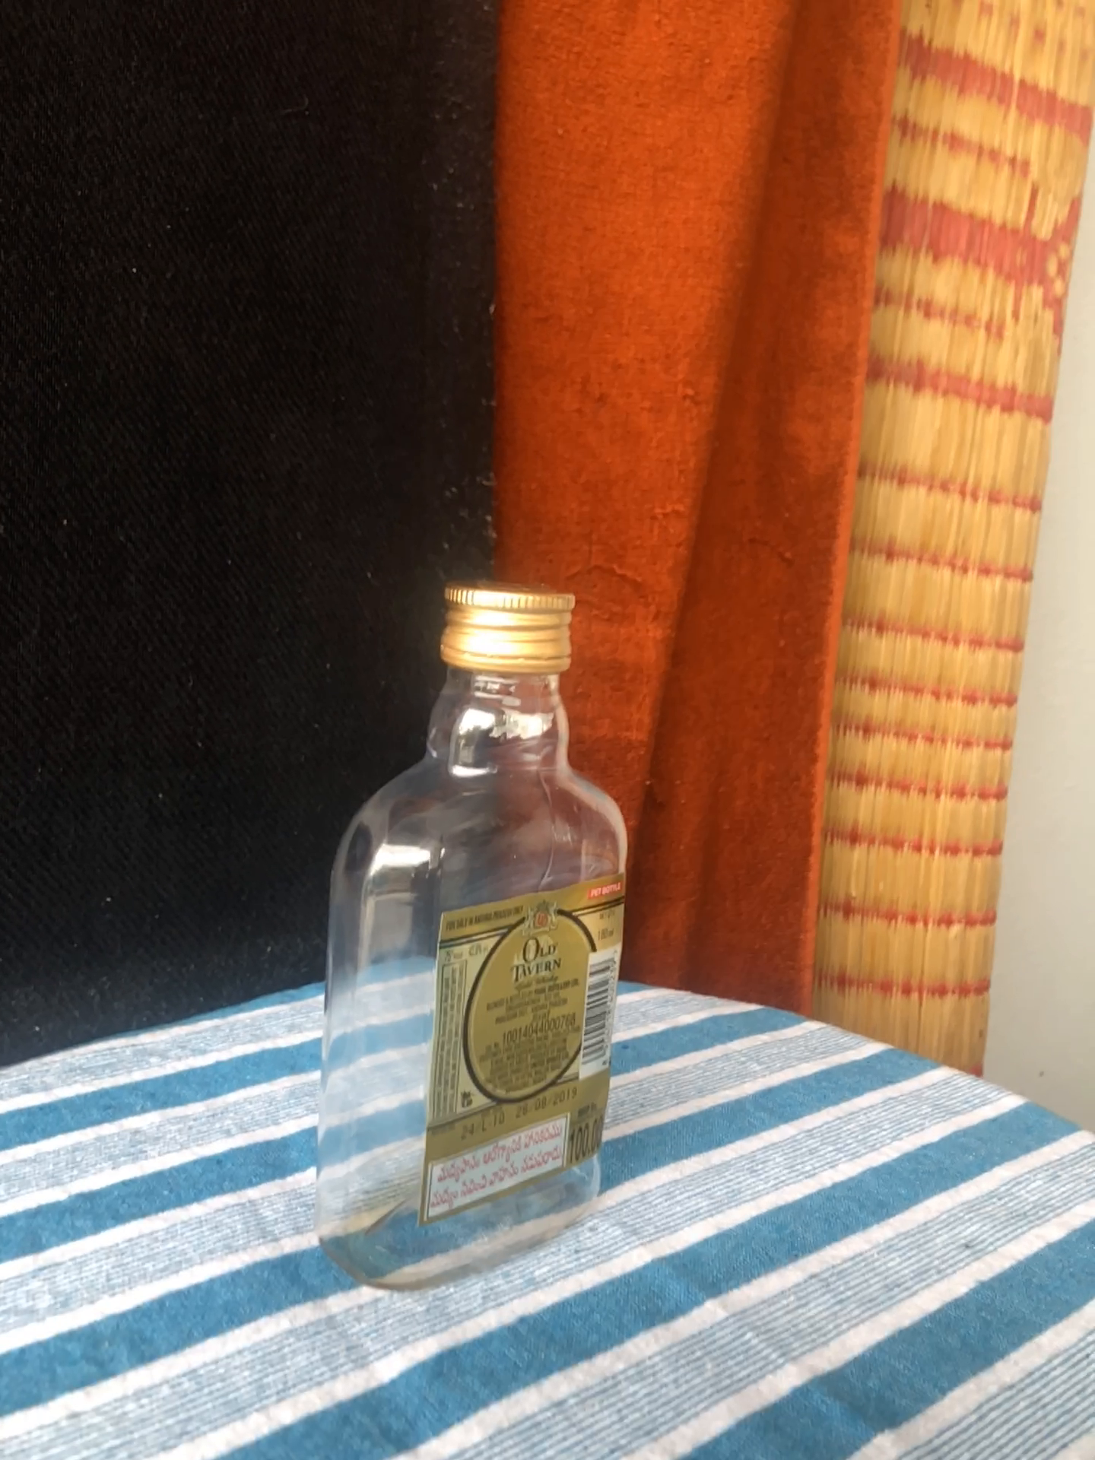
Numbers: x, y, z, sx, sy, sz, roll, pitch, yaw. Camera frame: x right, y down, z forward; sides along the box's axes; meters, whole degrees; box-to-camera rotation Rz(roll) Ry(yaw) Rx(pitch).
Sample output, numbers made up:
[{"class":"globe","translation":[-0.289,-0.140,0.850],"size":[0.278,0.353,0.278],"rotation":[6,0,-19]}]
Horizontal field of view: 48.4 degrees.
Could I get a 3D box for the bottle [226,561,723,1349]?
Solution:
[{"class":"bottle","translation":[-0.015,0.040,0.253],"size":[0.080,0.140,0.040],"rotation":[-2,14,-43]}]
